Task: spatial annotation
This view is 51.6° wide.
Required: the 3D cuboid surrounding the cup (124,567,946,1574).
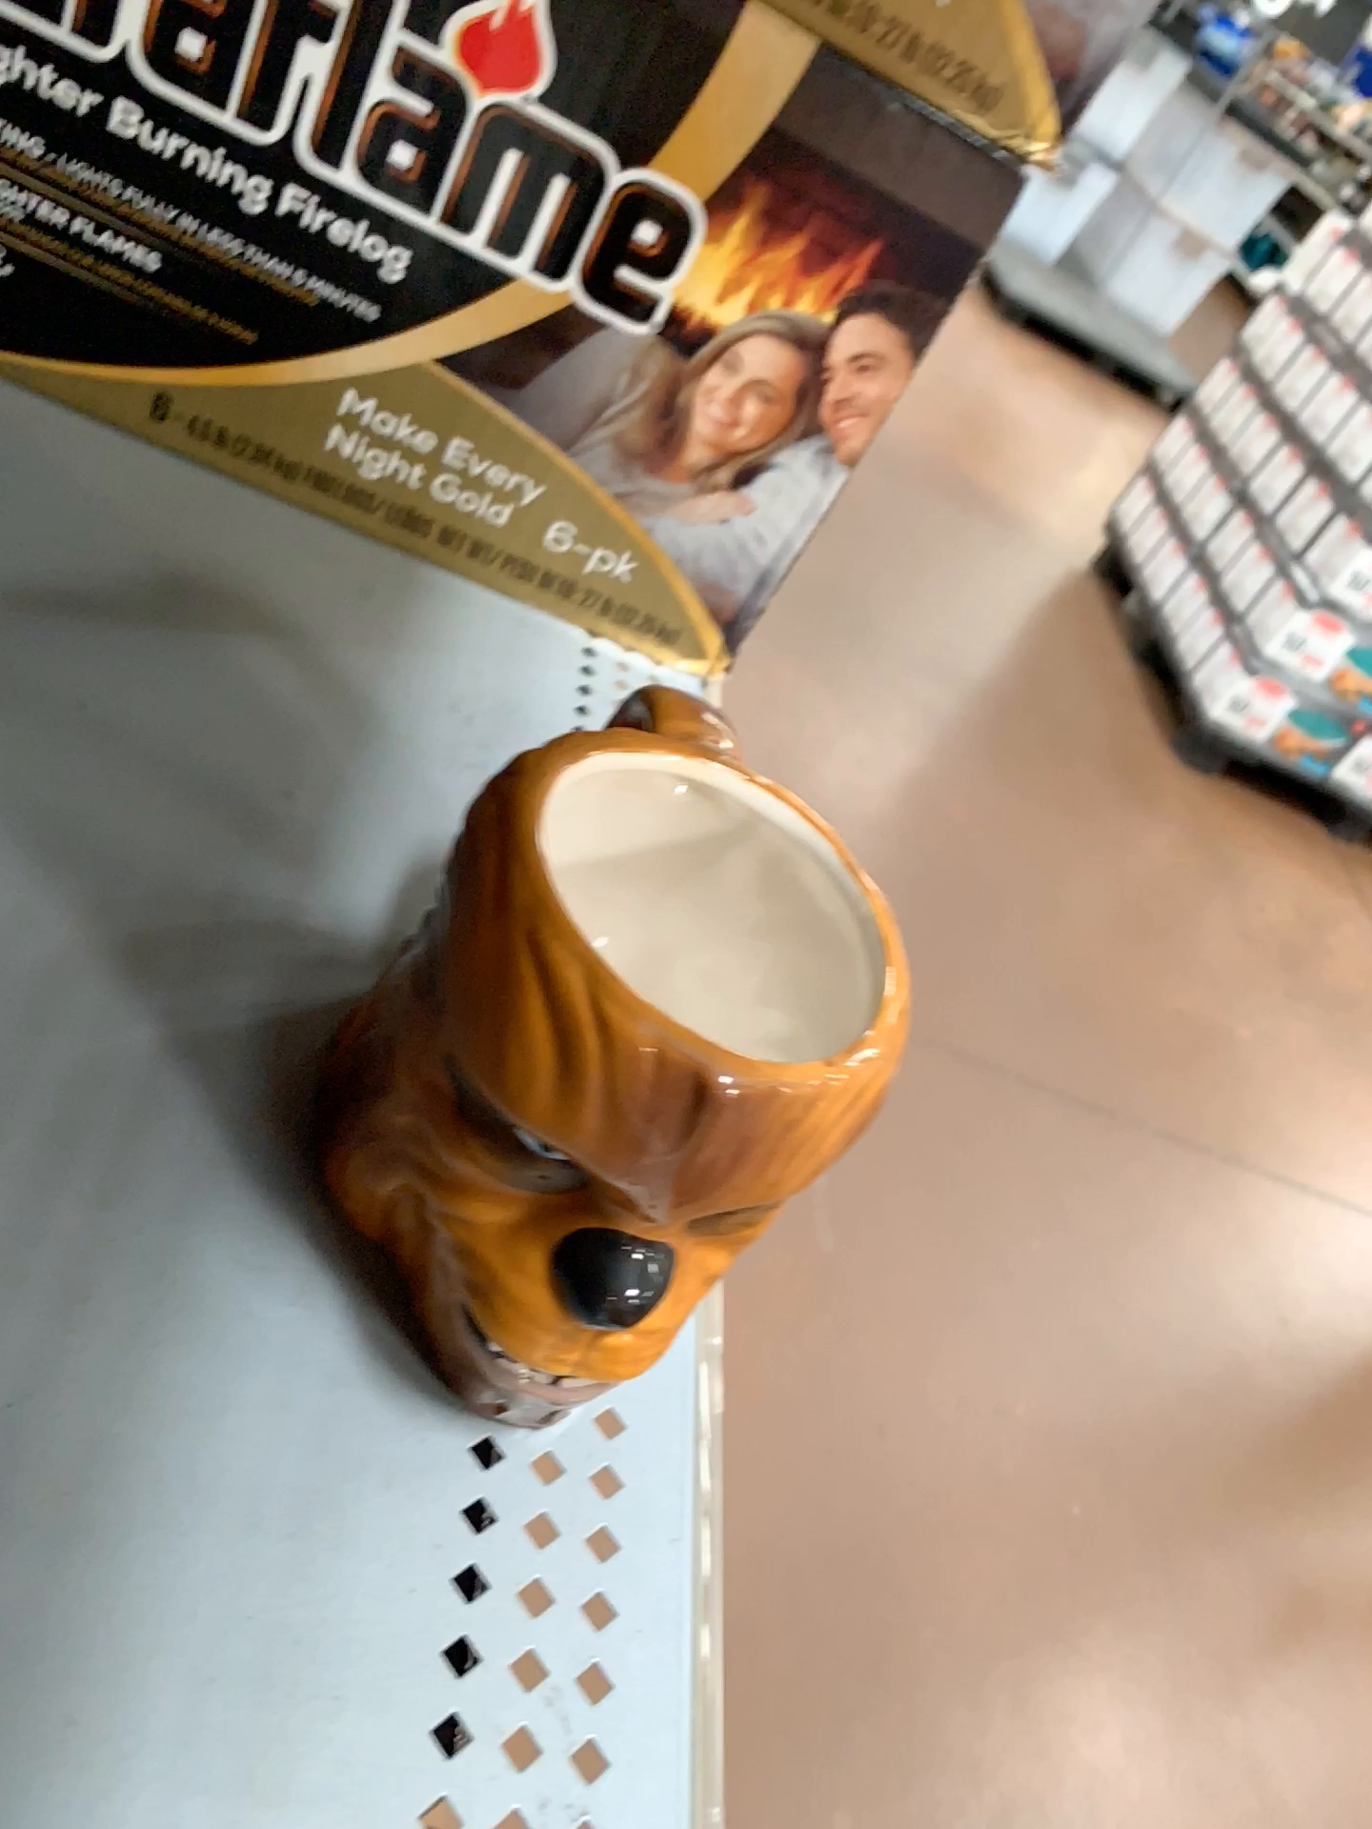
[{"bbox_3d":[-0.032,0.034,0.298,0.097,0.137,0.132,22,38,-16],"label":"cup"}]
